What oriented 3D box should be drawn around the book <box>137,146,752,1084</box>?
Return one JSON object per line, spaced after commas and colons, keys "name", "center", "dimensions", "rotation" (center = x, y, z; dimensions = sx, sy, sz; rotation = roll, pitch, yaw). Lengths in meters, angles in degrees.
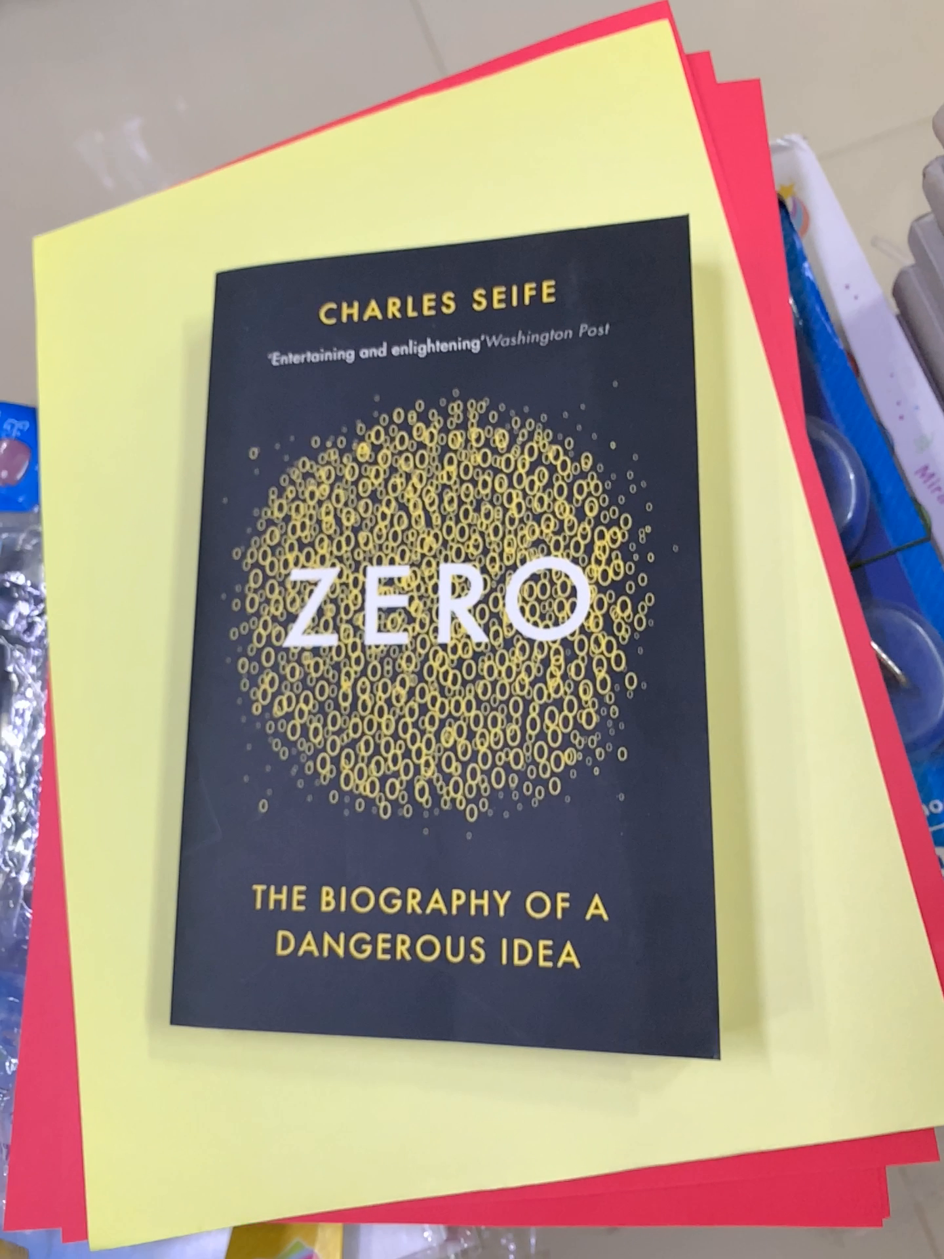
{"name": "book", "center": [-0.005, -0.006, 0.240], "dimensions": [0.130, 0.040, 0.200], "rotation": [-2, 80, 12]}
